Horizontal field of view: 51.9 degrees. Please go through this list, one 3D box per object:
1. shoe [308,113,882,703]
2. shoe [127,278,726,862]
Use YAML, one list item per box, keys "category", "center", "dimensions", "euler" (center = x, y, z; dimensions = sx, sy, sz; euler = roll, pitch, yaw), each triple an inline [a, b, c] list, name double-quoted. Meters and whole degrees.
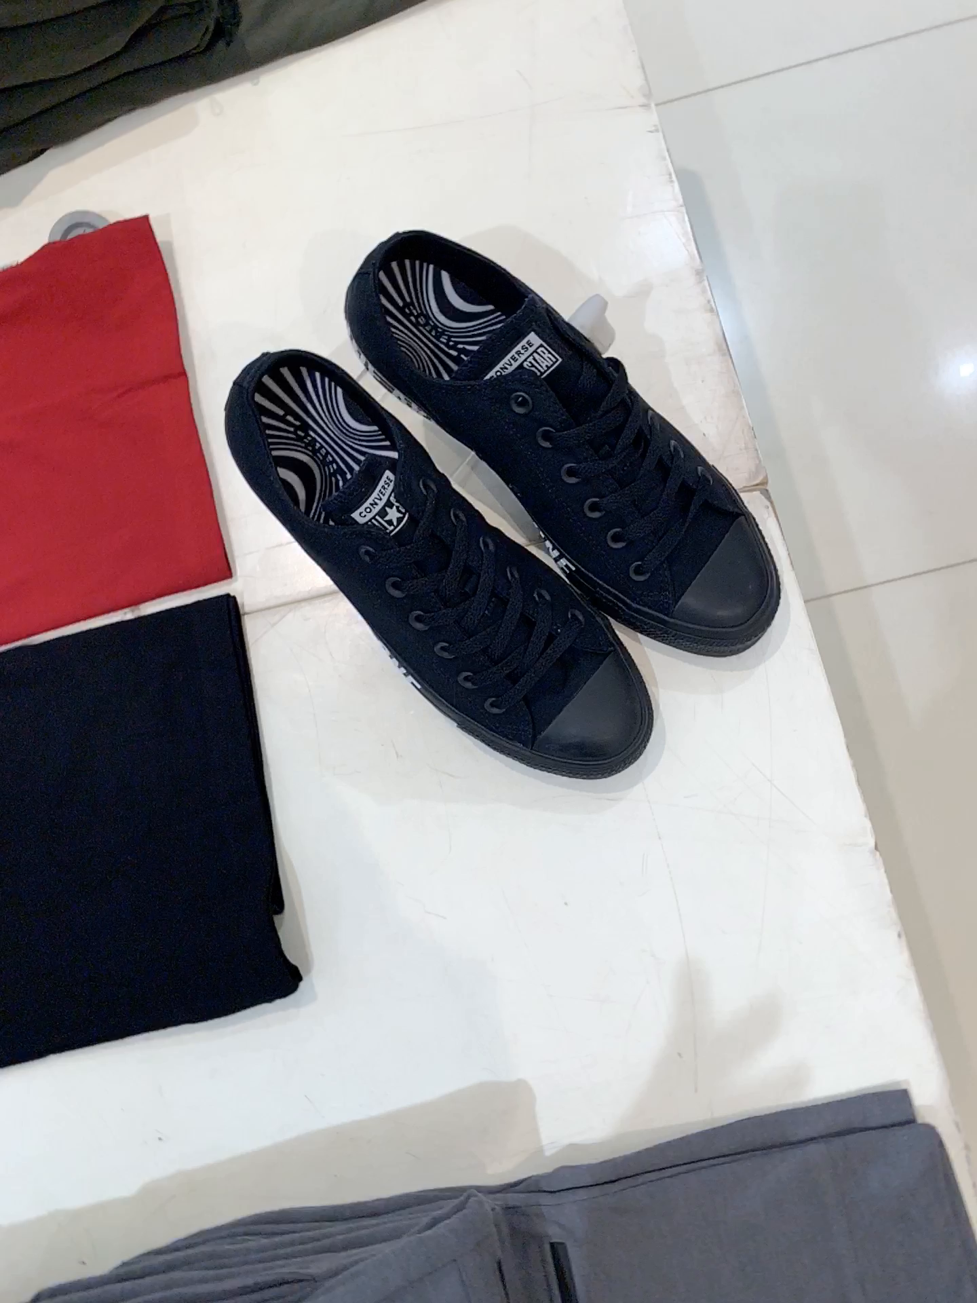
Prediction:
- category: "shoe"
  center: [0.047, -0.106, 0.498]
  dimensions: [0.270, 0.100, 0.100]
  euler: [43, 83, -10]
- category: "shoe"
  center: [-0.031, -0.031, 0.503]
  dimensions: [0.290, 0.100, 0.090]
  euler: [43, 78, -8]
